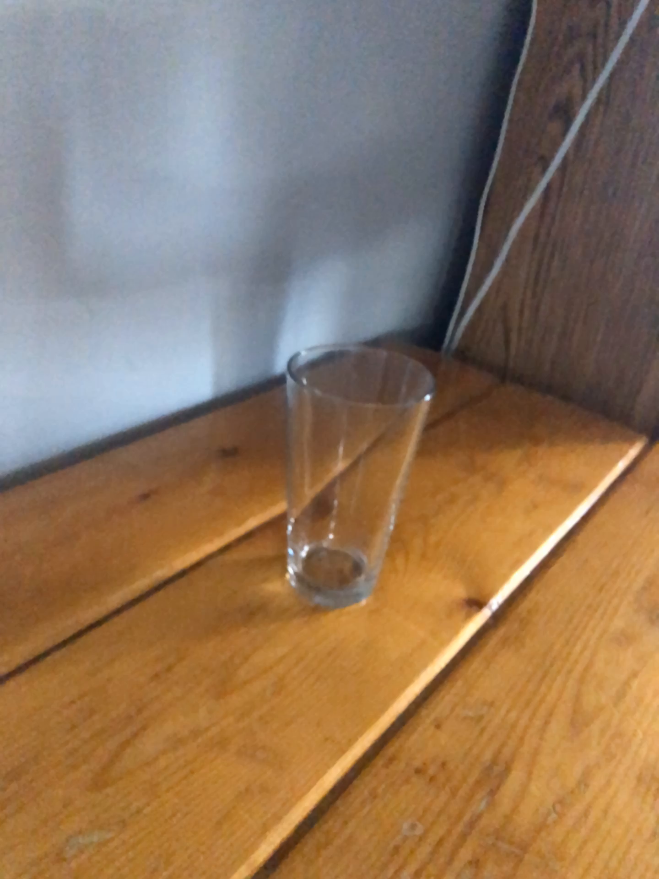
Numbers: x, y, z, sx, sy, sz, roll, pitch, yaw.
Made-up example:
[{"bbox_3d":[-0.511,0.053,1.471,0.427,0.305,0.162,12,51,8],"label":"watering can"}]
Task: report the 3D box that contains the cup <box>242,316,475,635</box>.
[{"bbox_3d":[0.016,0.018,0.453,0.090,0.149,0.090,7,29,-4],"label":"cup"}]
